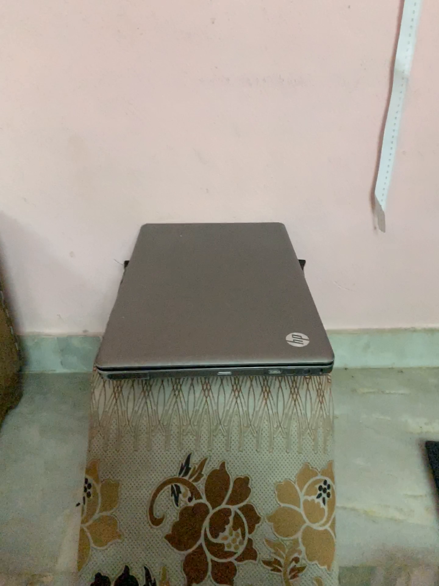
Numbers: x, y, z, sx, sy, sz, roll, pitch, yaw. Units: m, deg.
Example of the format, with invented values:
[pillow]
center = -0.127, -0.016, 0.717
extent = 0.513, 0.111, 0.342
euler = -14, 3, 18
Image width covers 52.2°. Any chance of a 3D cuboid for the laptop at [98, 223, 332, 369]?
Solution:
[laptop]
center = -0.007, -0.023, 0.638
extent = 0.249, 0.002, 0.382
euler = -1, 32, -1
